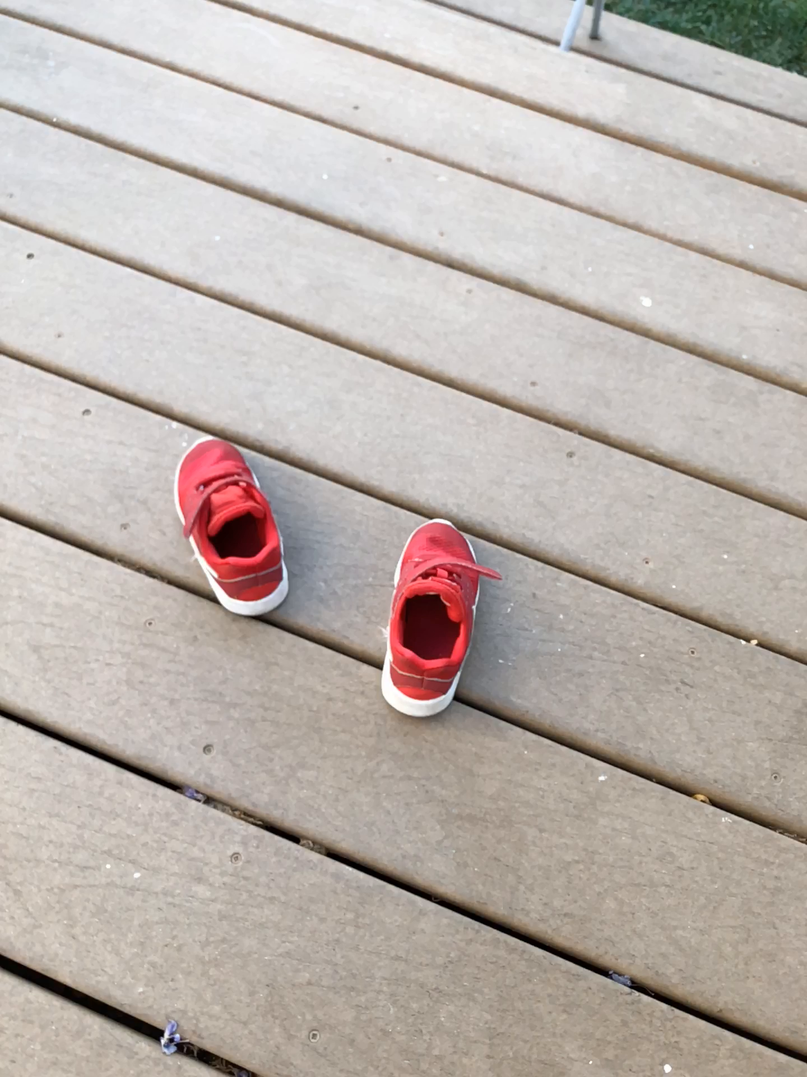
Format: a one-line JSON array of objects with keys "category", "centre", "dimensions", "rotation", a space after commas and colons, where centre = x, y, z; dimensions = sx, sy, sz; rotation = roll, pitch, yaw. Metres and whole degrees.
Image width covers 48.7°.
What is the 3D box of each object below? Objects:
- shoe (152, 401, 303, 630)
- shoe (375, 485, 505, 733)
[{"category": "shoe", "centre": [-0.138, -0.019, 0.700], "dimensions": [0.073, 0.069, 0.153], "rotation": [-16, 64, -15]}, {"category": "shoe", "centre": [0.029, 0.052, 0.677], "dimensions": [0.069, 0.069, 0.165], "rotation": [10, 60, -1]}]
